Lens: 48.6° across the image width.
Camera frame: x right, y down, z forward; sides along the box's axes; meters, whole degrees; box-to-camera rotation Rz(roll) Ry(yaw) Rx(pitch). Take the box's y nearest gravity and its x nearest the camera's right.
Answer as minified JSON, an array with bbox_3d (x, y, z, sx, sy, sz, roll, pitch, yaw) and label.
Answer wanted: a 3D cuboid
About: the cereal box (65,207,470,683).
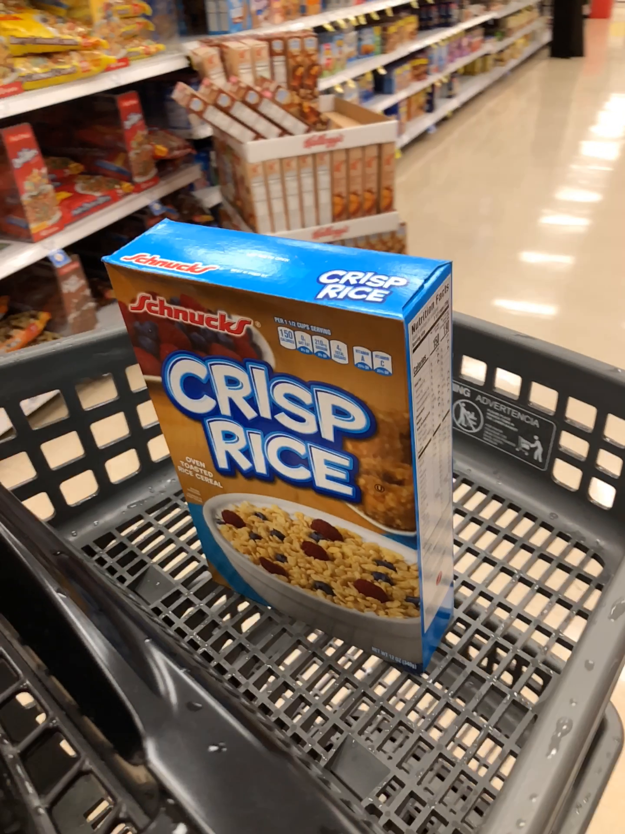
[{"bbox_3d":[-0.017,0.028,0.463,0.220,0.299,0.060,15,44,26],"label":"cereal box"}]
